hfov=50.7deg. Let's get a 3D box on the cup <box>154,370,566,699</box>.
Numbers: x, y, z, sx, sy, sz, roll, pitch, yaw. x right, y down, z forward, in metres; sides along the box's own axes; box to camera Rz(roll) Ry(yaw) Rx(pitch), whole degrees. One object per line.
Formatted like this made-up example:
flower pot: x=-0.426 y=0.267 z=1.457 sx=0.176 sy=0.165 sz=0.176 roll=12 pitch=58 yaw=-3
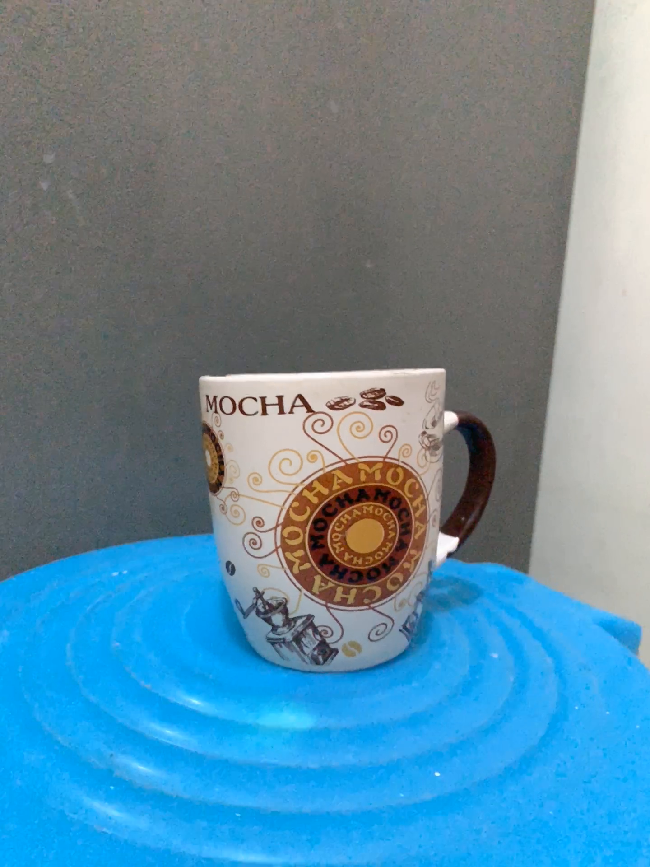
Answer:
cup: x=0.007 y=0.020 z=0.225 sx=0.110 sy=0.080 sz=0.080 roll=-3 pitch=5 yaw=-22
